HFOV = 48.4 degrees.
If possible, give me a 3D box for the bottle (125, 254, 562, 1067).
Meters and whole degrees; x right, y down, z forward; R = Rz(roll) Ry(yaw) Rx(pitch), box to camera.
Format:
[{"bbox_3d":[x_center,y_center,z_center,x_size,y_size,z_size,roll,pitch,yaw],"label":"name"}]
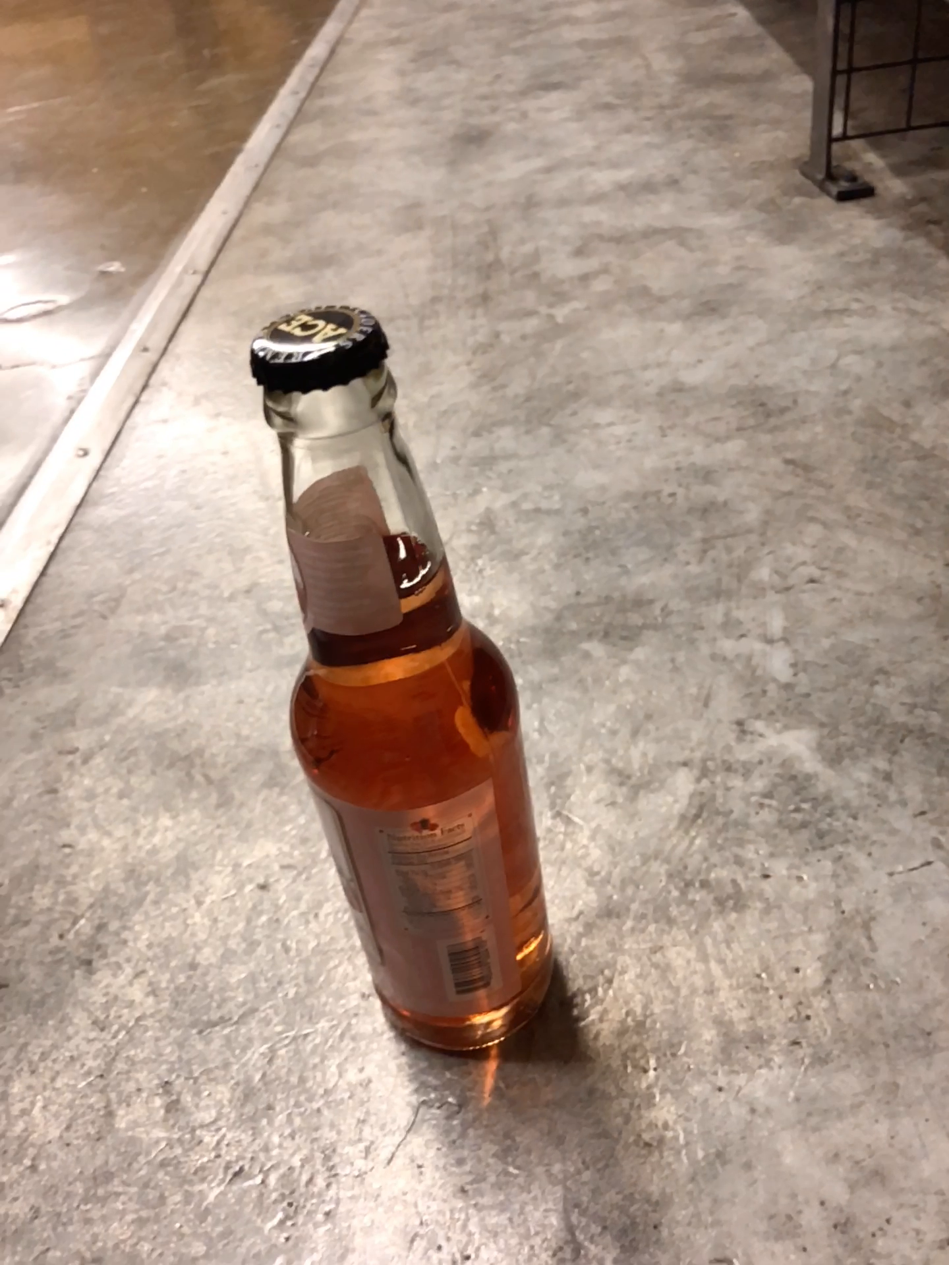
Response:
[{"bbox_3d":[-0.019,0.025,0.277,0.060,0.221,0.062,-6,39,5],"label":"bottle"}]
